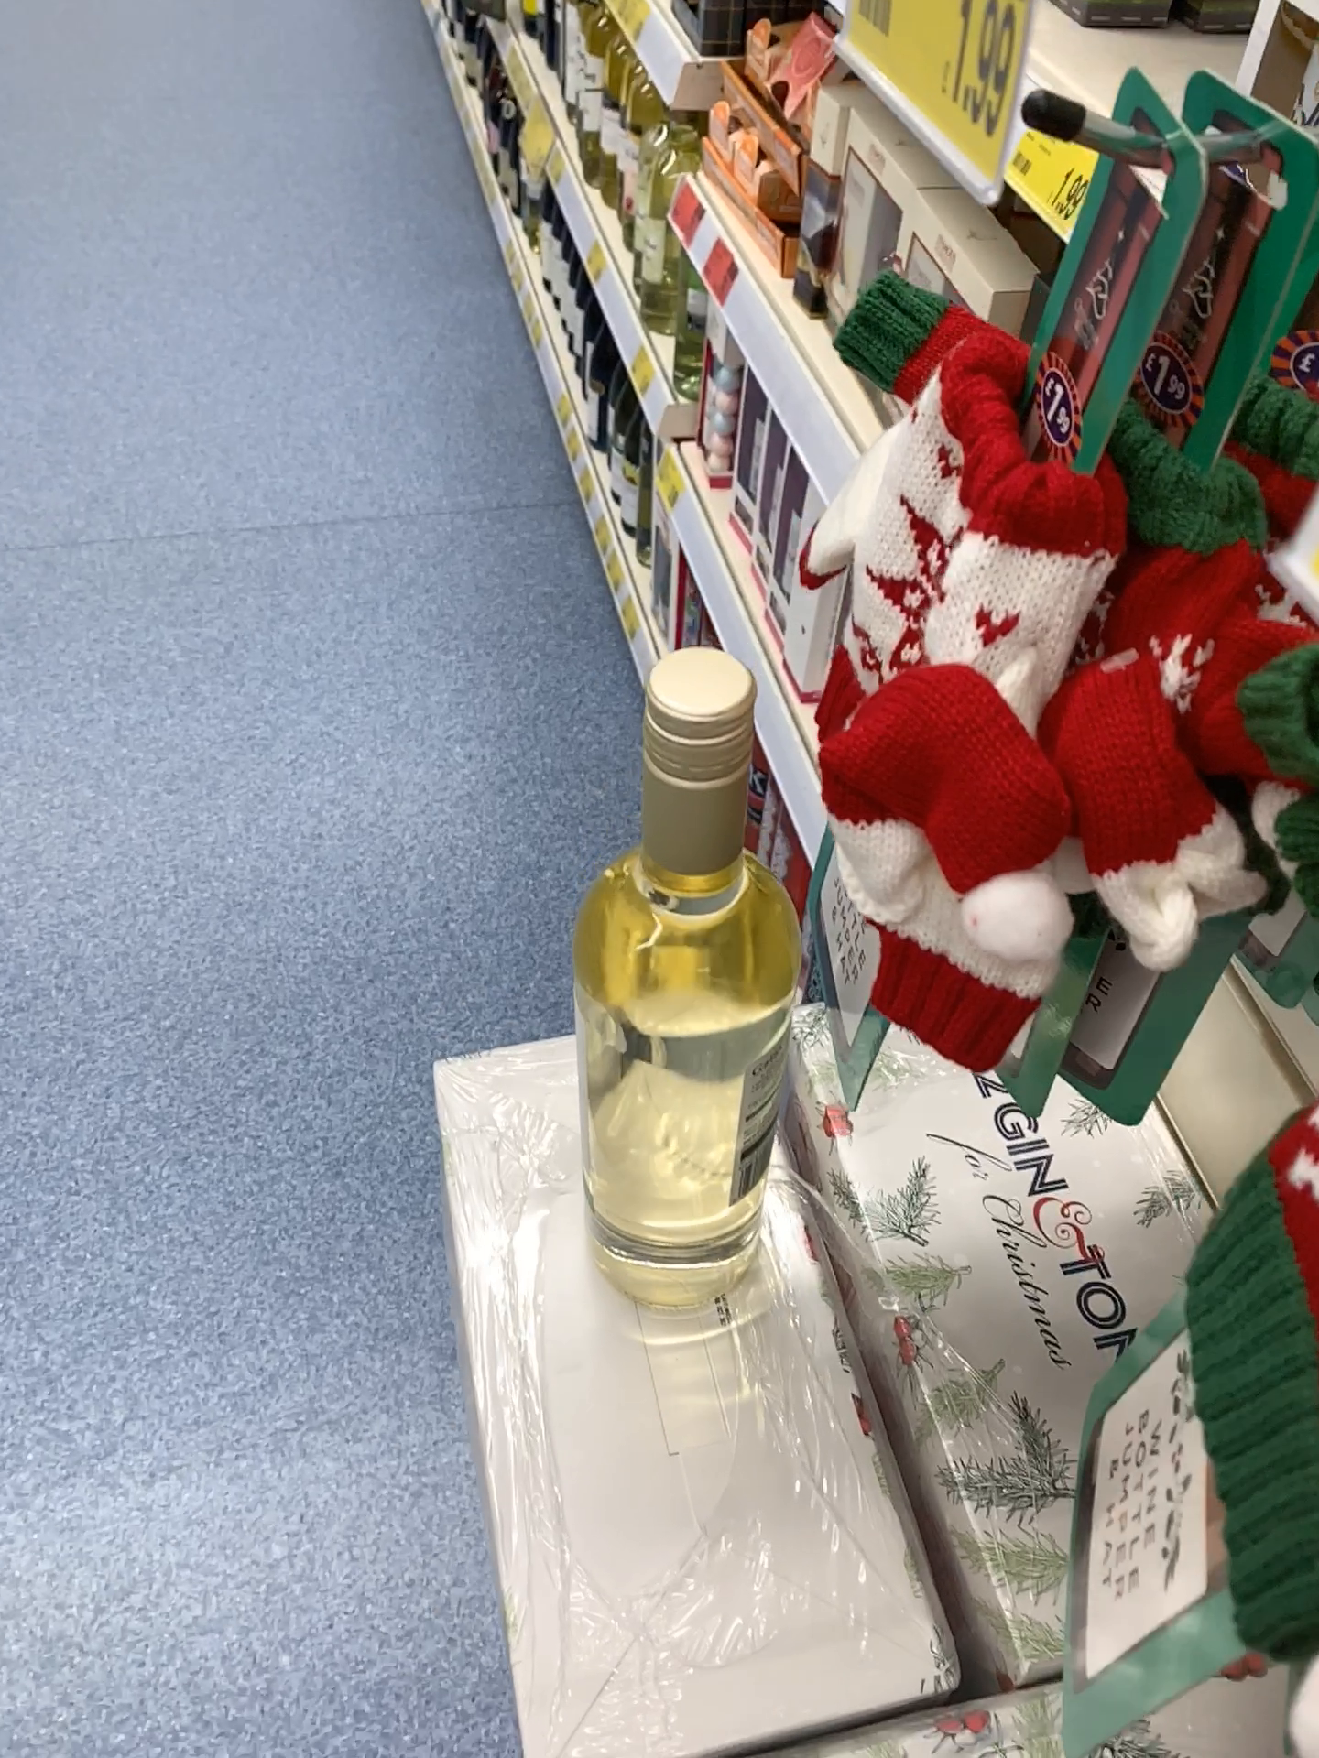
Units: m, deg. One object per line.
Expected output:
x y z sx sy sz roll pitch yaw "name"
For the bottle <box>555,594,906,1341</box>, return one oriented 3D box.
0.014 0.051 0.455 0.073 0.285 0.073 2 48 -2 "bottle"
